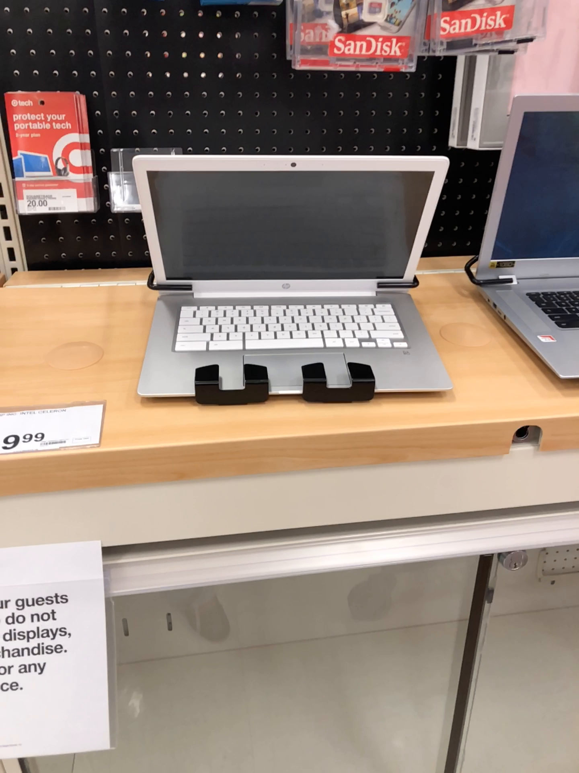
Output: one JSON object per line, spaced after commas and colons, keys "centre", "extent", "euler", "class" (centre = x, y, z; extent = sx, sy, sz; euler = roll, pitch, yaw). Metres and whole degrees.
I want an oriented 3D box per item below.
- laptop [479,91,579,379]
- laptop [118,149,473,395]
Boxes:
{"centre": [0.428, -0.184, 0.717], "extent": [0.320, 0.231, 0.231], "euler": [-3, 29, -4], "class": "laptop"}
{"centre": [0.000, -0.134, 0.690], "extent": [0.322, 0.172, 0.201], "euler": [-2, 33, -4], "class": "laptop"}
